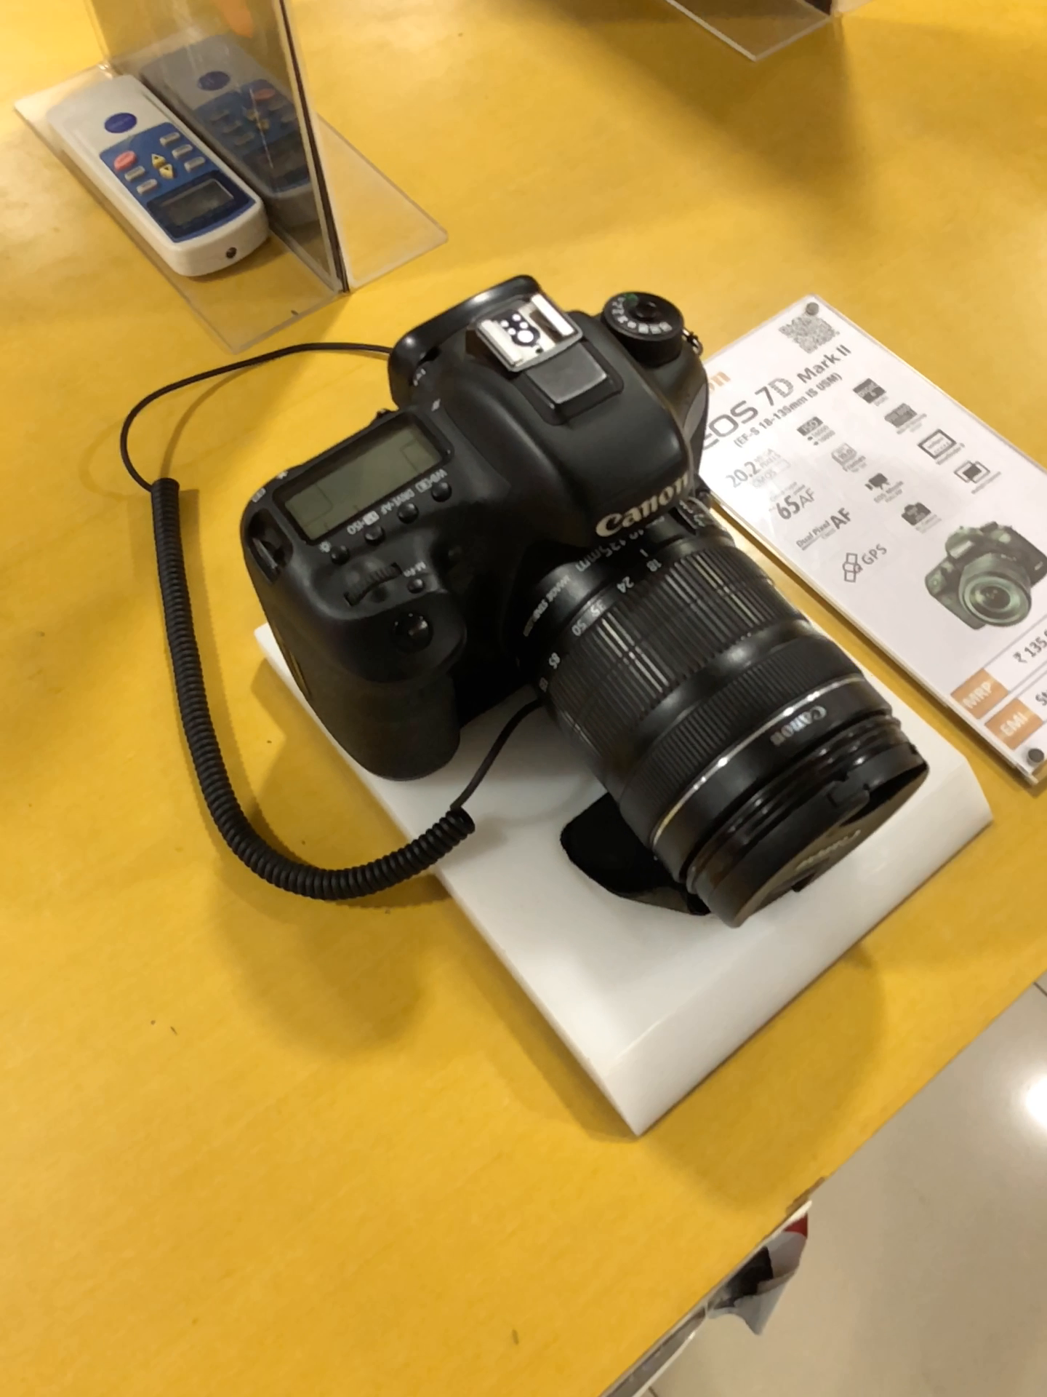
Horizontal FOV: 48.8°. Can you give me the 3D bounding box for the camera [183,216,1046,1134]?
[{"bbox_3d":[0.025,-0.009,0.302,0.130,0.110,0.170,-34,65,-18],"label":"camera"}]
